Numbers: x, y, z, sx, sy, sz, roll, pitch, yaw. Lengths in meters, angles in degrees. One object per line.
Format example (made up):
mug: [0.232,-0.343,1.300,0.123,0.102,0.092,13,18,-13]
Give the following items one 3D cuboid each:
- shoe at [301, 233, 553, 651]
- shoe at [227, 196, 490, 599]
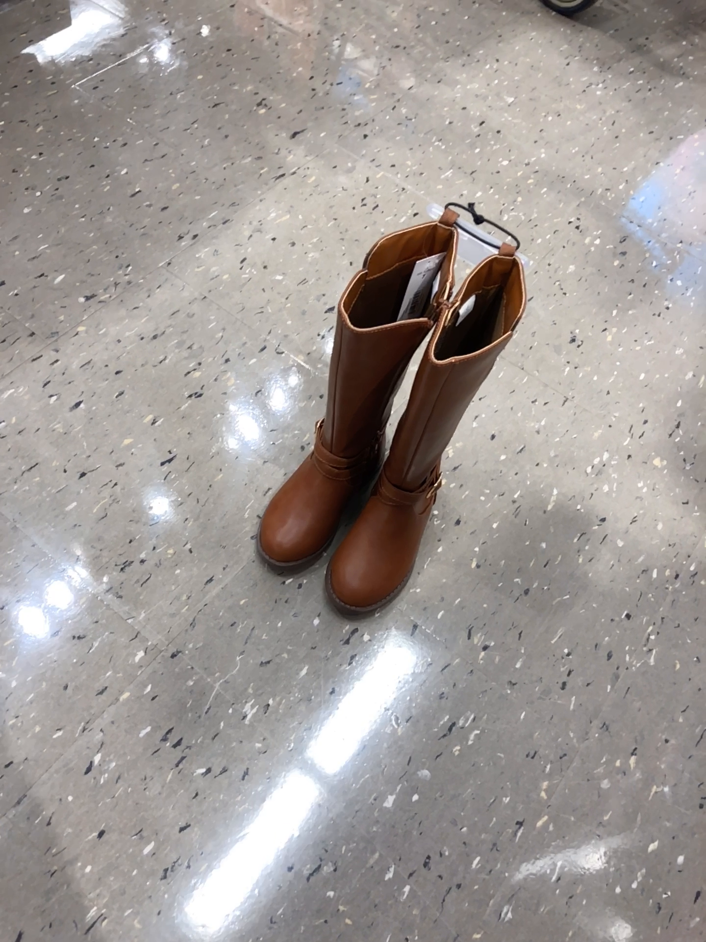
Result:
shoe: [0.045,-0.006,0.590,0.070,0.270,0.190,26,58,9]
shoe: [-0.008,-0.039,0.594,0.070,0.270,0.180,31,59,6]
